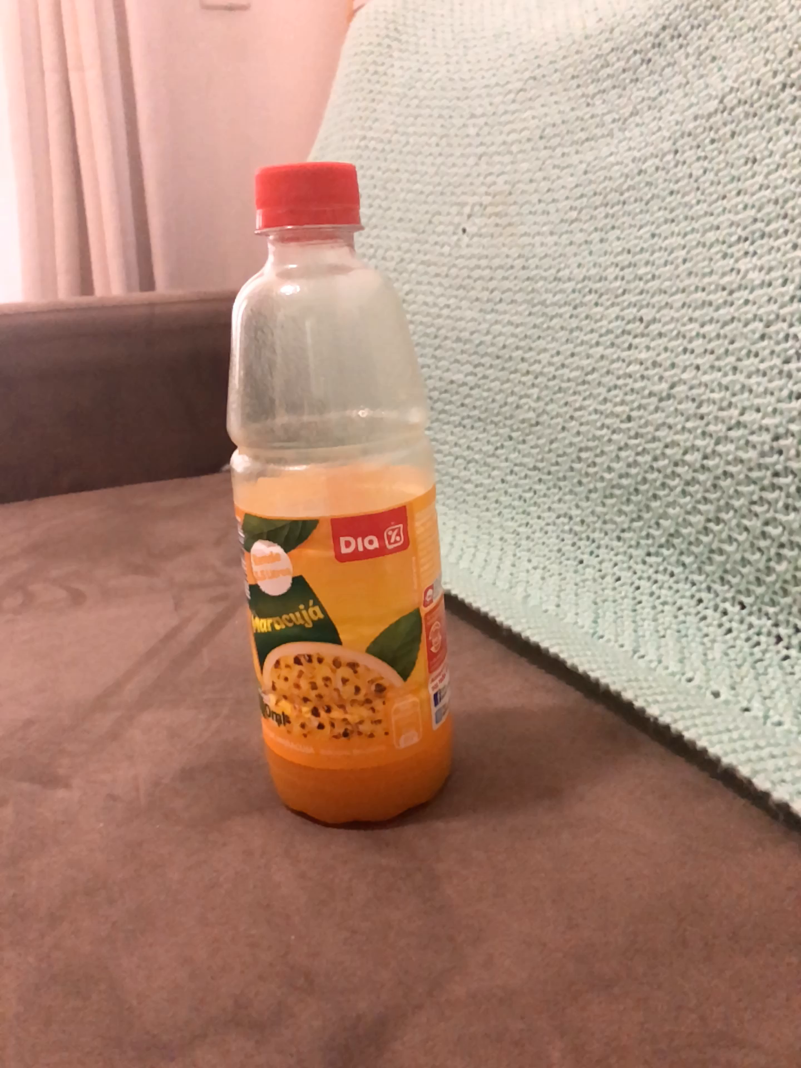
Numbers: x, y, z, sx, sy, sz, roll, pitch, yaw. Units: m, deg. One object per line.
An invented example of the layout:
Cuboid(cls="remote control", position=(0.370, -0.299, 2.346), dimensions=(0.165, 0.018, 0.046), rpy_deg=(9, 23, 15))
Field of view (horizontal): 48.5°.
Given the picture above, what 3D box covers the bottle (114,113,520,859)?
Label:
Cuboid(cls="bottle", position=(-0.020, -0.017, 0.286), dimensions=(0.080, 0.199, 0.080), rpy_deg=(-4, 15, 1))
